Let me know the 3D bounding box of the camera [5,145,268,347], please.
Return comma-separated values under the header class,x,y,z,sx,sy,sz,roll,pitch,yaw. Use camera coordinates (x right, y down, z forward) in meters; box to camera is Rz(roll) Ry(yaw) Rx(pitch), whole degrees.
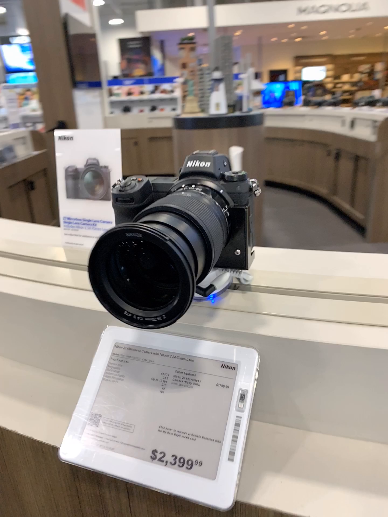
class,x,y,z,sx,sy,sz,roll,pitch,yaw
camera,-0.023,-0.034,0.354,0.140,0.099,0.211,4,23,18
